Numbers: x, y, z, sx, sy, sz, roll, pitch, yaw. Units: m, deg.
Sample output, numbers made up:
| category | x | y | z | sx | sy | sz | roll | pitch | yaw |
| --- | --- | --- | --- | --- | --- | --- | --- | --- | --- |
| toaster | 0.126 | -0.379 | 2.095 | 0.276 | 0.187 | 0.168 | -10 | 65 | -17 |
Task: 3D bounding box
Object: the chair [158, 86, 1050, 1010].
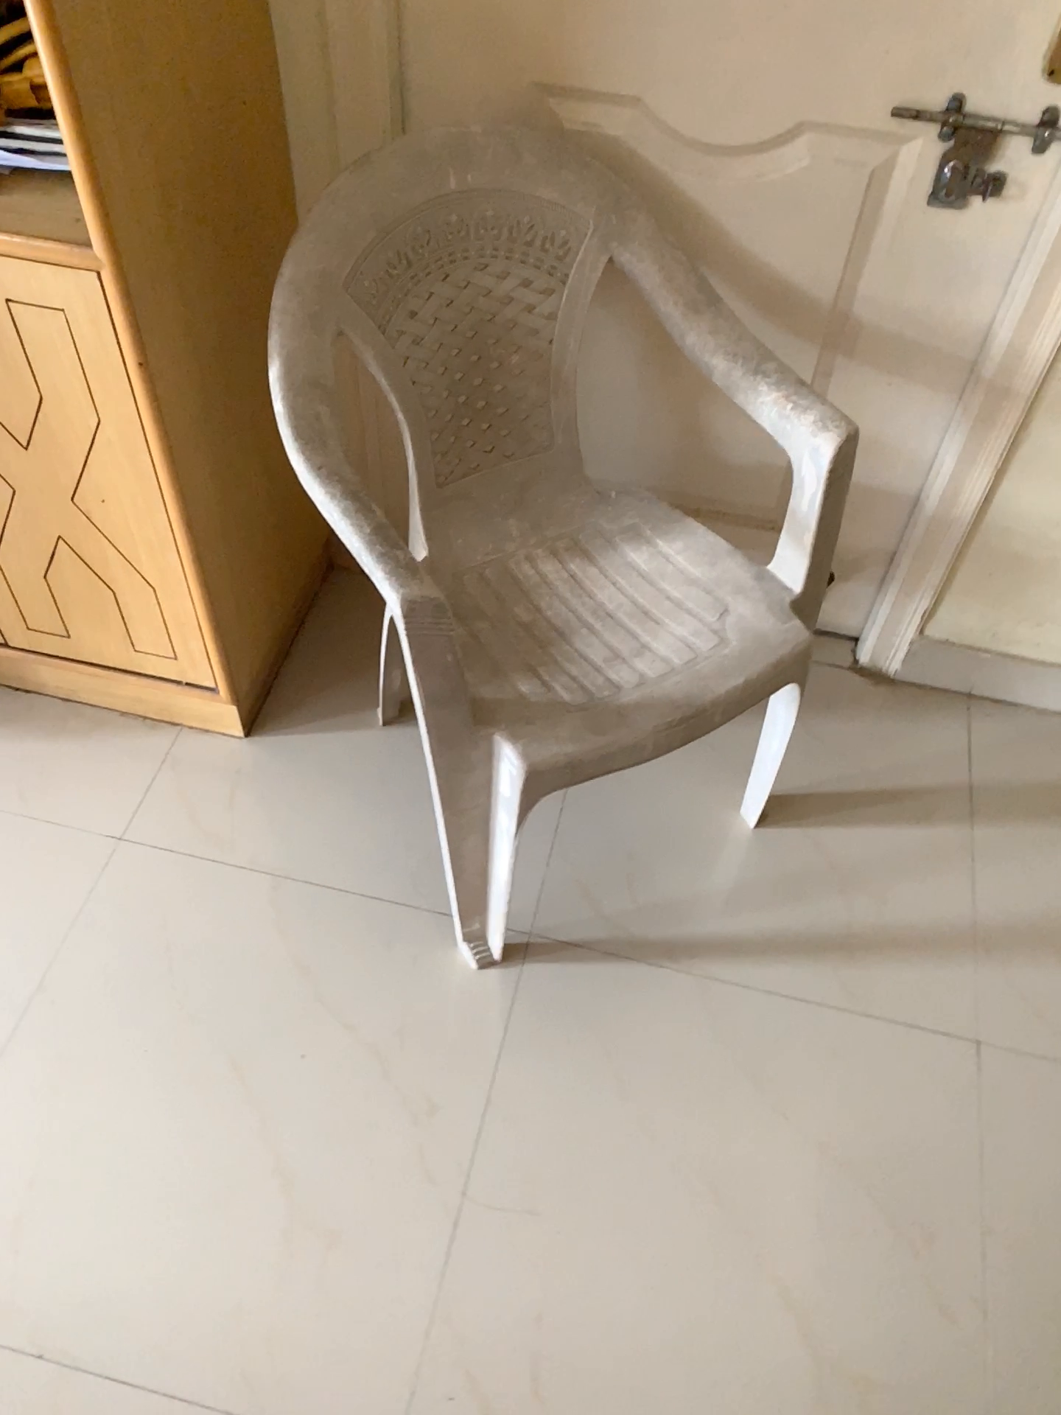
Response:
| category | x | y | z | sx | sy | sz | roll | pitch | yaw |
| --- | --- | --- | --- | --- | --- | --- | --- | --- | --- |
| chair | 0.019 | -0.196 | 1.324 | 0.611 | 0.724 | 0.674 | -21 | 55 | -19 |
